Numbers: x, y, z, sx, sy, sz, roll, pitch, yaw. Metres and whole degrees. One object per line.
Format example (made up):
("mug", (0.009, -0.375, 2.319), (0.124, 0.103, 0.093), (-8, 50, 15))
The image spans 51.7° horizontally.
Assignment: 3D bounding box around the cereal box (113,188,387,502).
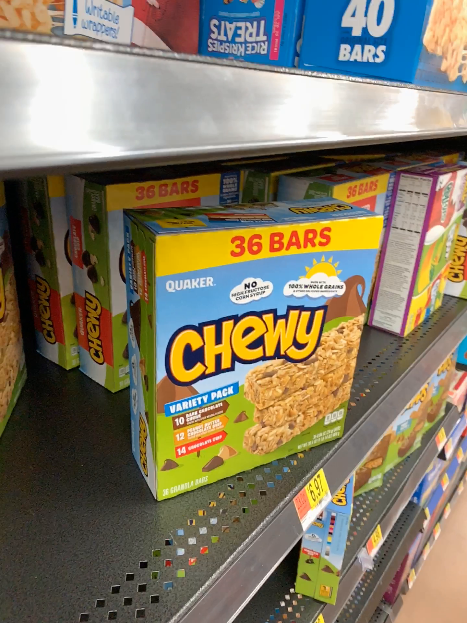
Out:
("cereal box", (0.010, 0.020, 0.412), (0.200, 0.229, 0.070), (-9, 27, -27))
